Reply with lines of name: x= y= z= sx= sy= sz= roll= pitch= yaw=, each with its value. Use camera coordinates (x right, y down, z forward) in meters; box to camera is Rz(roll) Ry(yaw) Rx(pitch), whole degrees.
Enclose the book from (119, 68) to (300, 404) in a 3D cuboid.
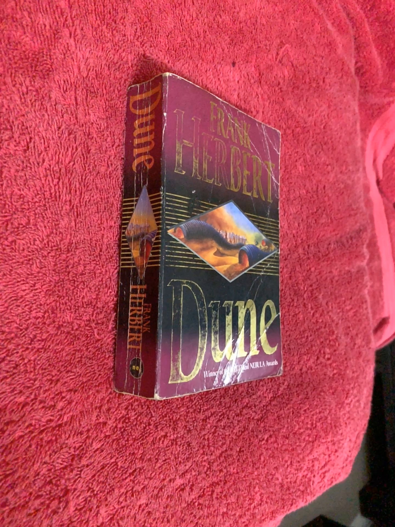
book: x=0.012 y=-0.012 z=0.253 sx=0.115 sy=0.039 sz=0.165 roll=5 pitch=82 yaw=-44
